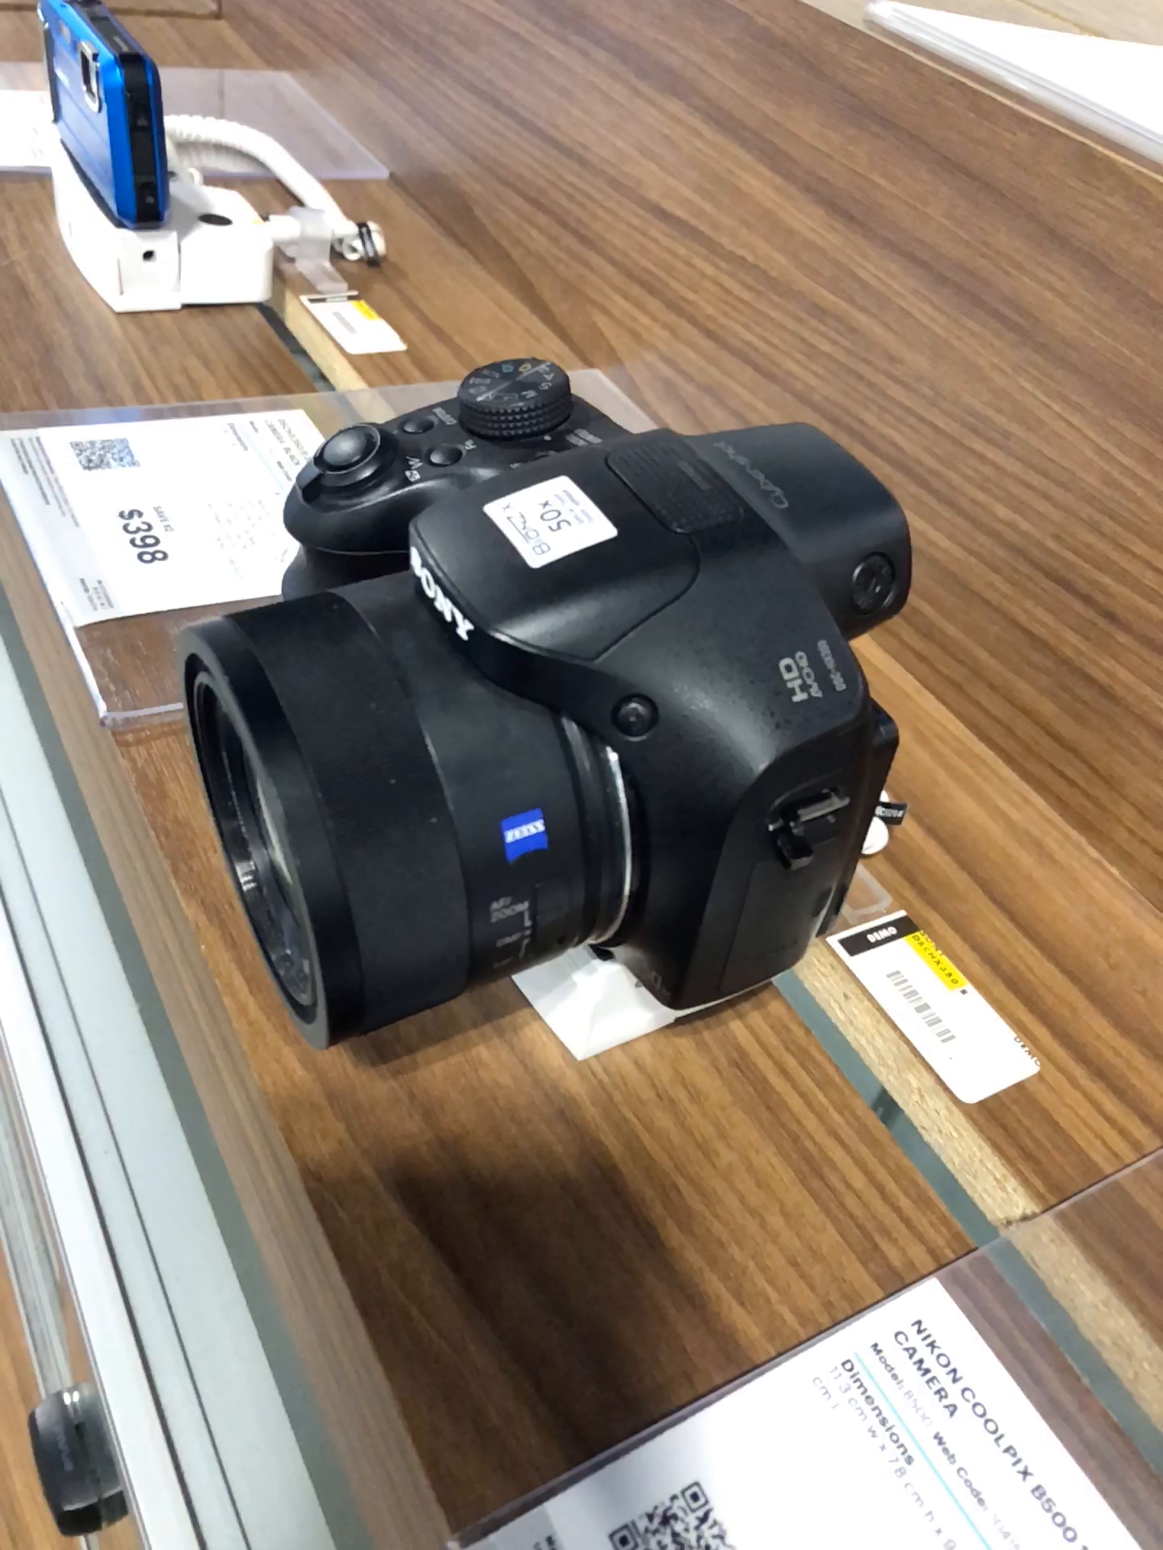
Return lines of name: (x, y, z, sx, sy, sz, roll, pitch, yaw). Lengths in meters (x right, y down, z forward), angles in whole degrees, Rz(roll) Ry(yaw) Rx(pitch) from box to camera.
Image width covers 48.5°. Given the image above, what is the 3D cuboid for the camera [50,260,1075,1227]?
camera: (-0.012, -0.018, 0.242, 0.120, 0.089, 0.131, -19, 50, -23)
